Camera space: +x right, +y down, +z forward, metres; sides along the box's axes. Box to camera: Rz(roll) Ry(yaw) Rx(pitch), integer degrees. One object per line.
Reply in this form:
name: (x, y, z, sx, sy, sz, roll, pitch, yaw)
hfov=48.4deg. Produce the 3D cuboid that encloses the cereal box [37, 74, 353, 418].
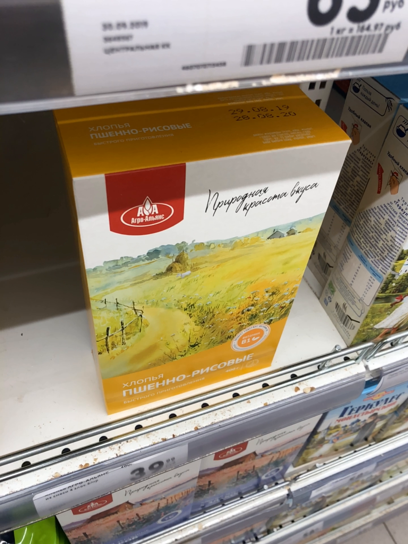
cereal box: (-0.011, -0.003, 0.277, 0.130, 0.199, 0.060, -13, 50, -17)
